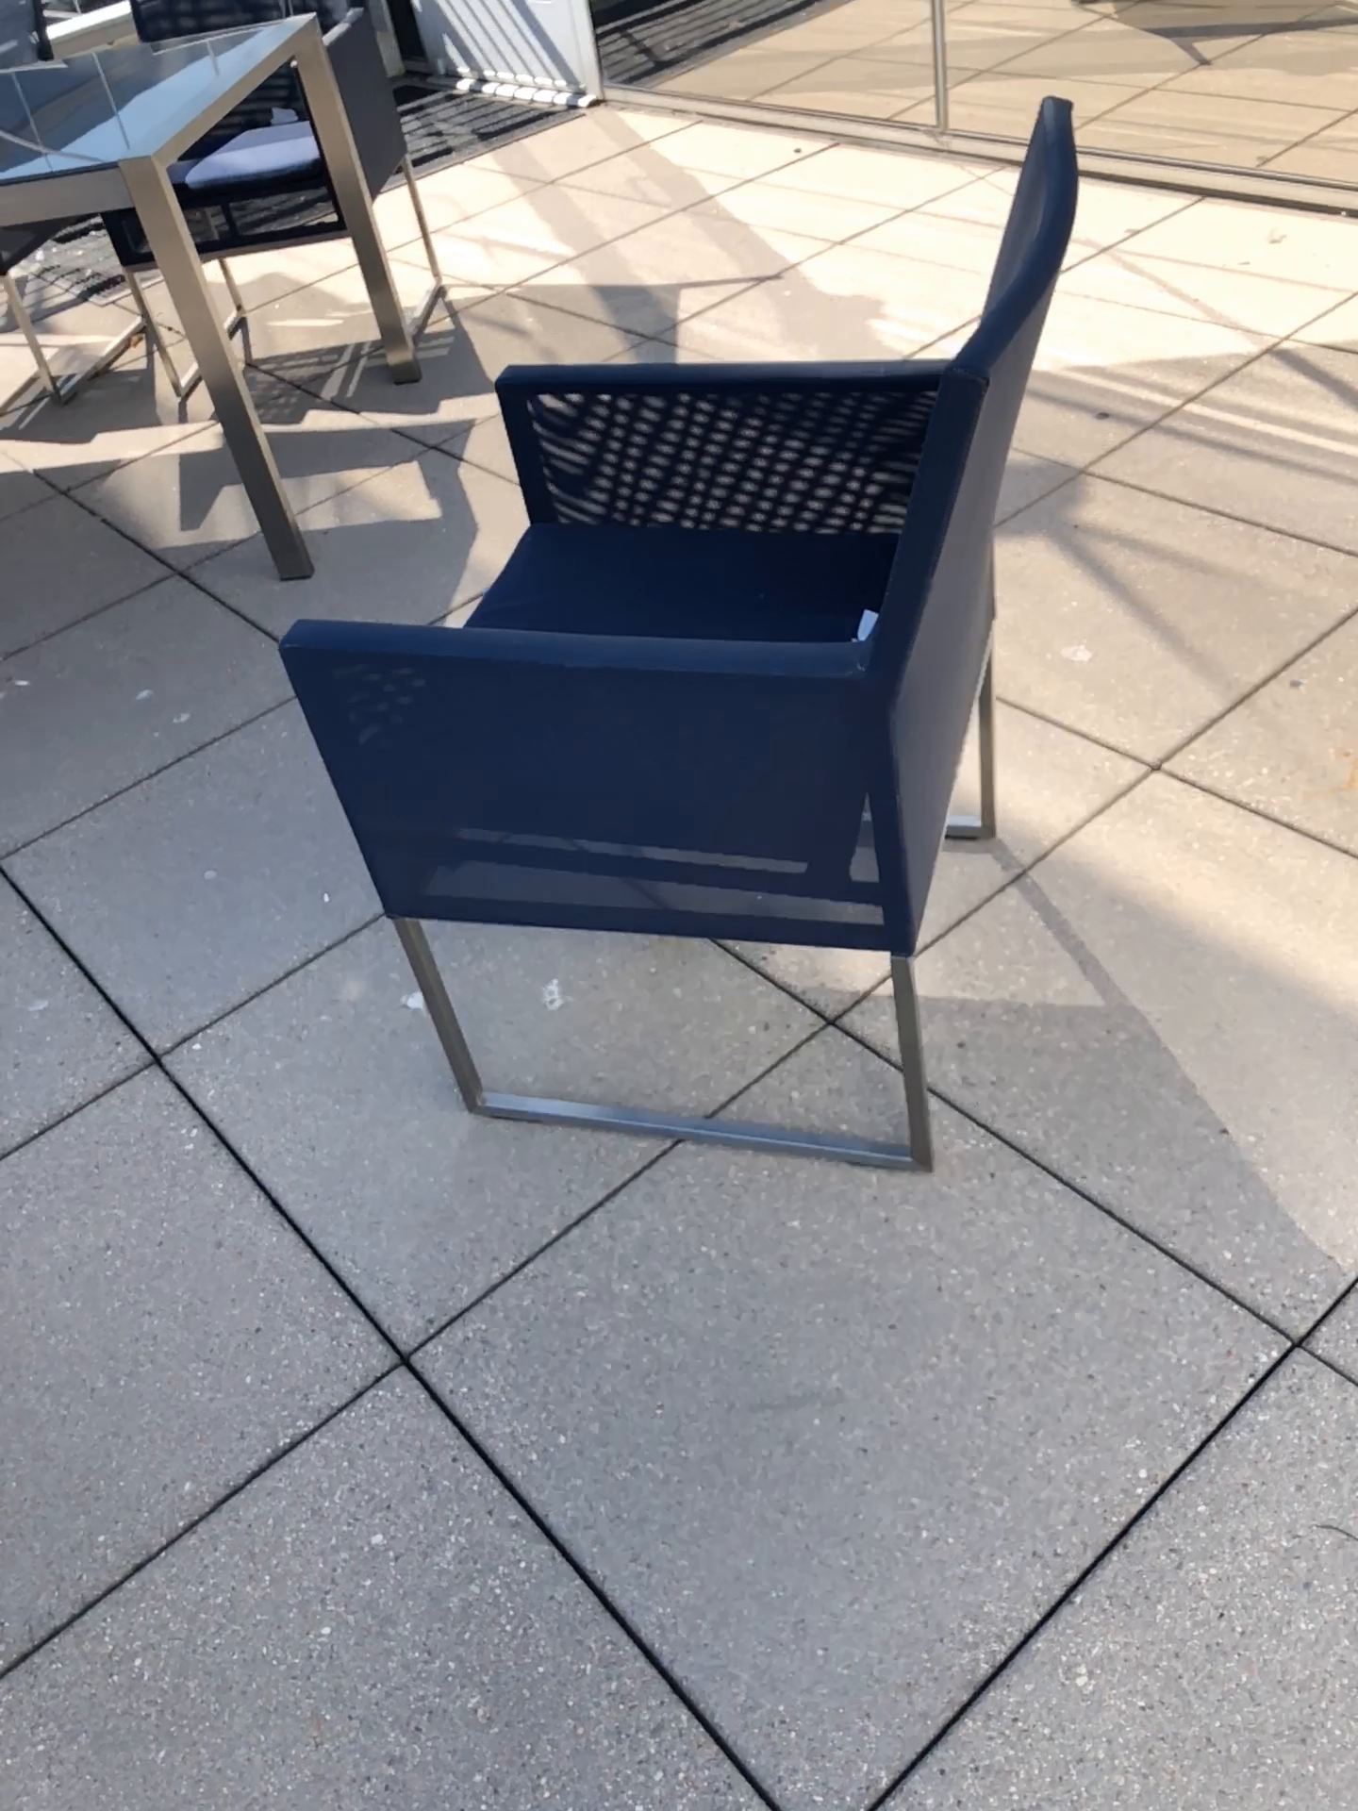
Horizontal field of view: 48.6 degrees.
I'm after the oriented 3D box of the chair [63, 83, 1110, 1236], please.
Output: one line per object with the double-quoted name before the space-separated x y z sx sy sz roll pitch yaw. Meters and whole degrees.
"chair" 0.033 -0.229 1.434 0.671 0.776 0.652 4 43 17
